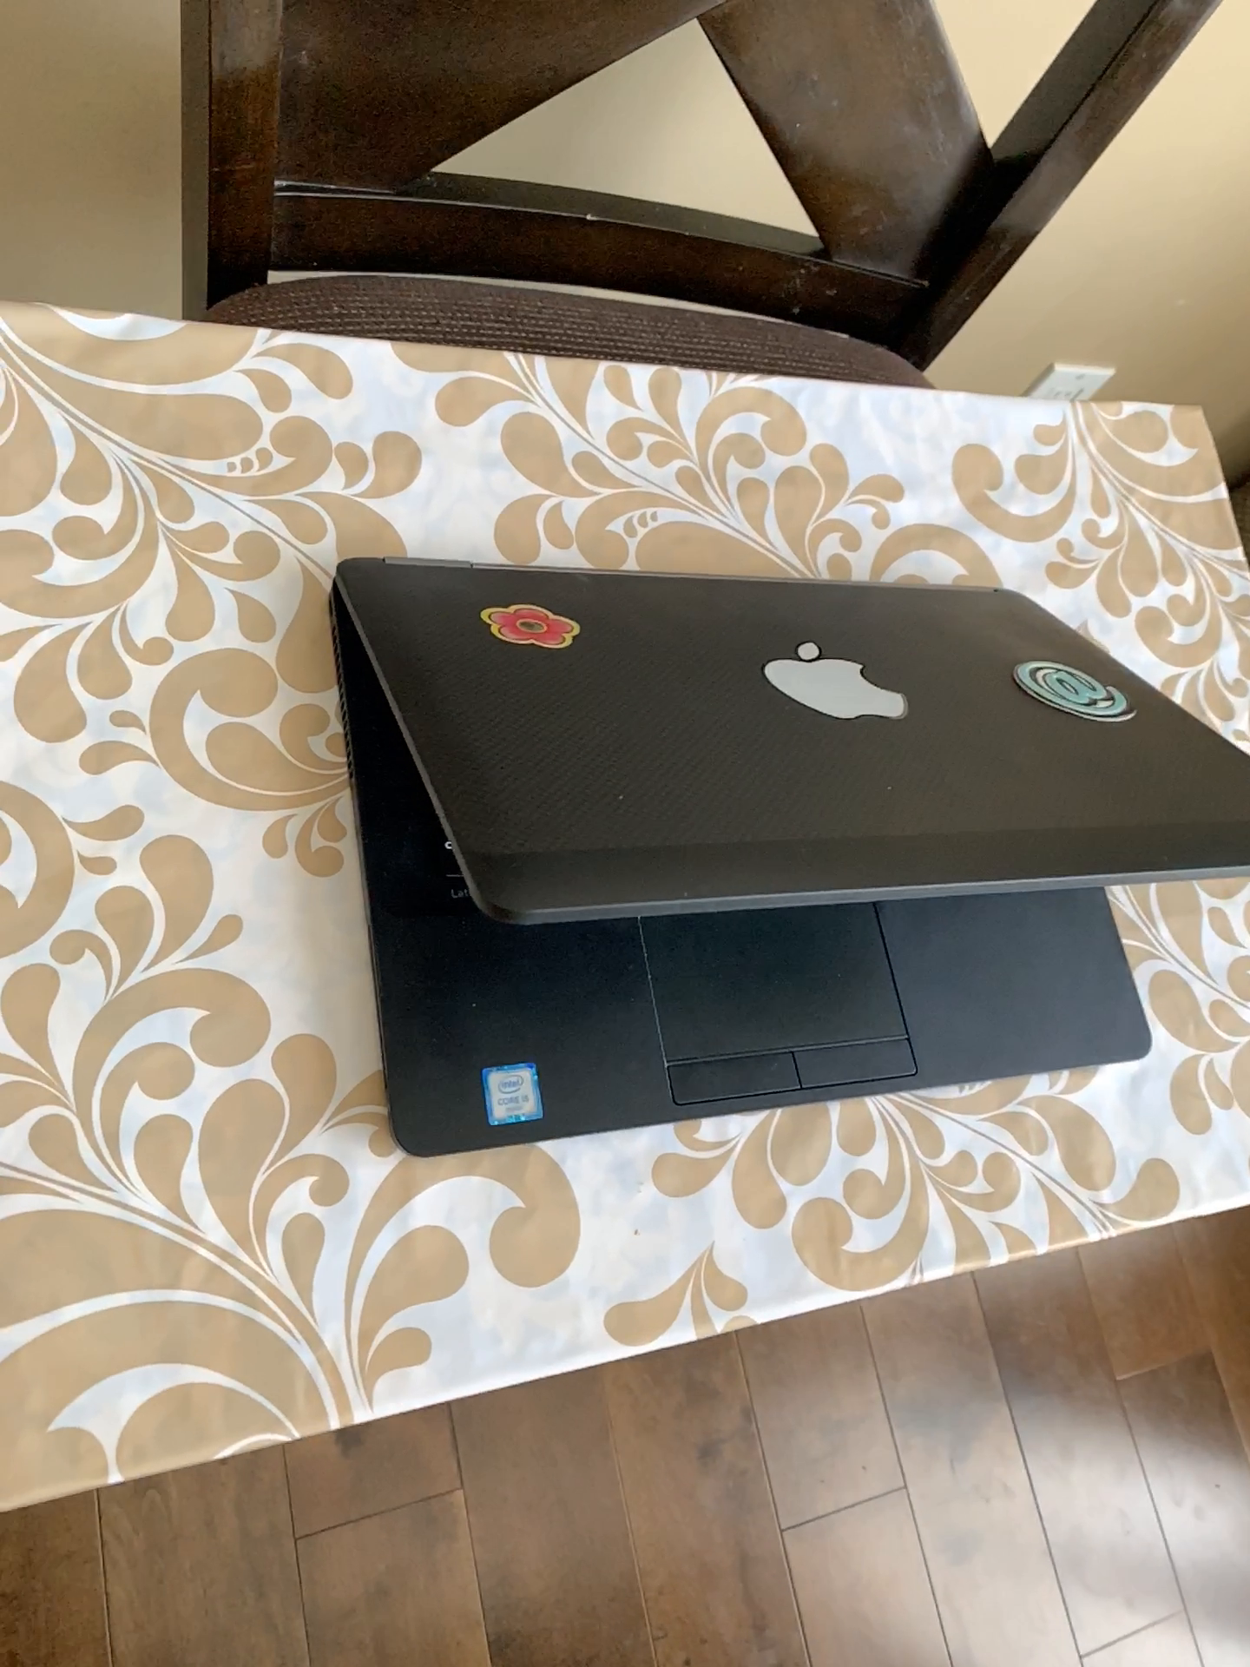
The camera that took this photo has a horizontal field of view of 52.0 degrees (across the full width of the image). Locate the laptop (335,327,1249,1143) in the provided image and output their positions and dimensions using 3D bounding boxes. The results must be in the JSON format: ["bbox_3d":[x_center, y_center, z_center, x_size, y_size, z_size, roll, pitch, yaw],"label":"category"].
[{"bbox_3d":[0.075,-0.025,0.426,0.301,0.127,0.199,-2,70,-24],"label":"laptop"}]
